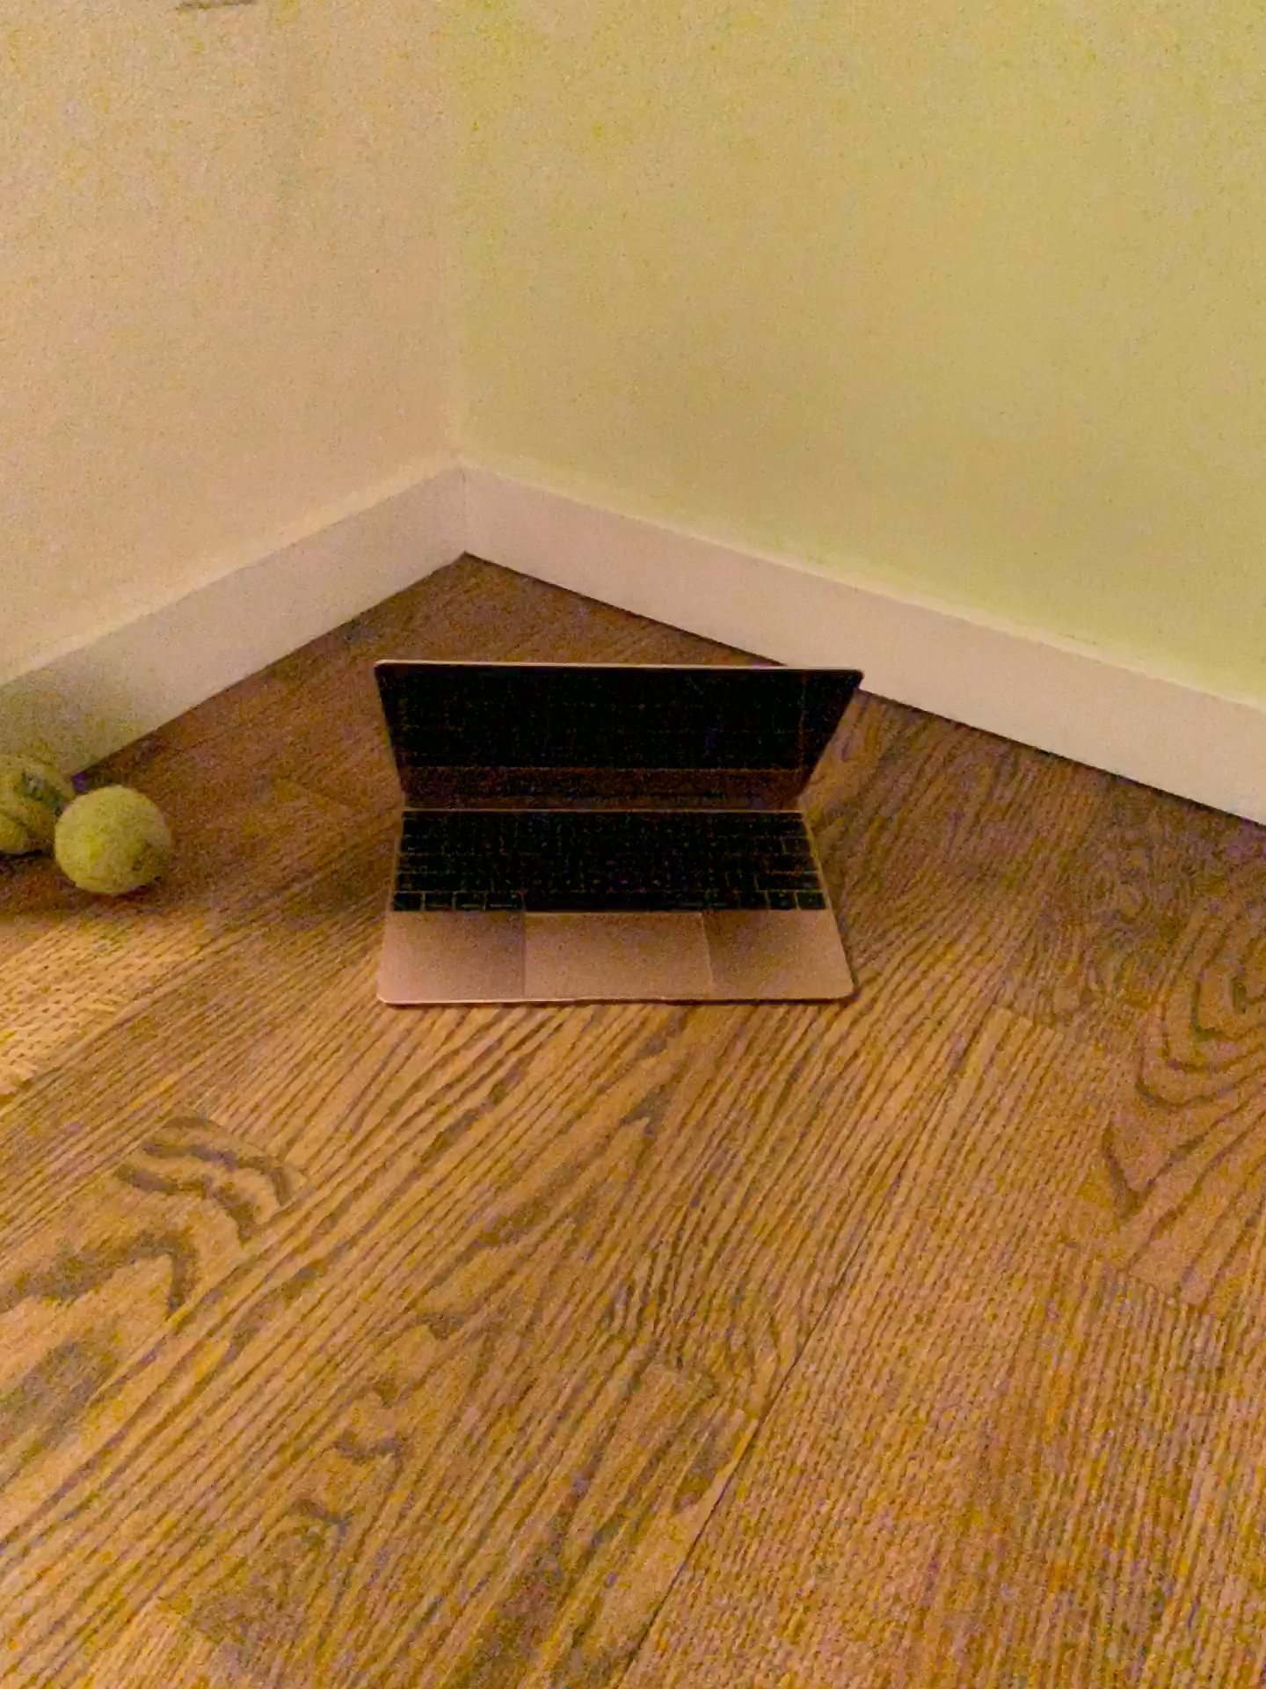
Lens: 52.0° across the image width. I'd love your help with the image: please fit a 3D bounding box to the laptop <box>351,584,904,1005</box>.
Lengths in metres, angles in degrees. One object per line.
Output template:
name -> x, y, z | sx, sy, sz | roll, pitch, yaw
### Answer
laptop -> -0.012, -0.036, 0.807 | 0.288, 0.168, 0.207 | 0, 38, -5
